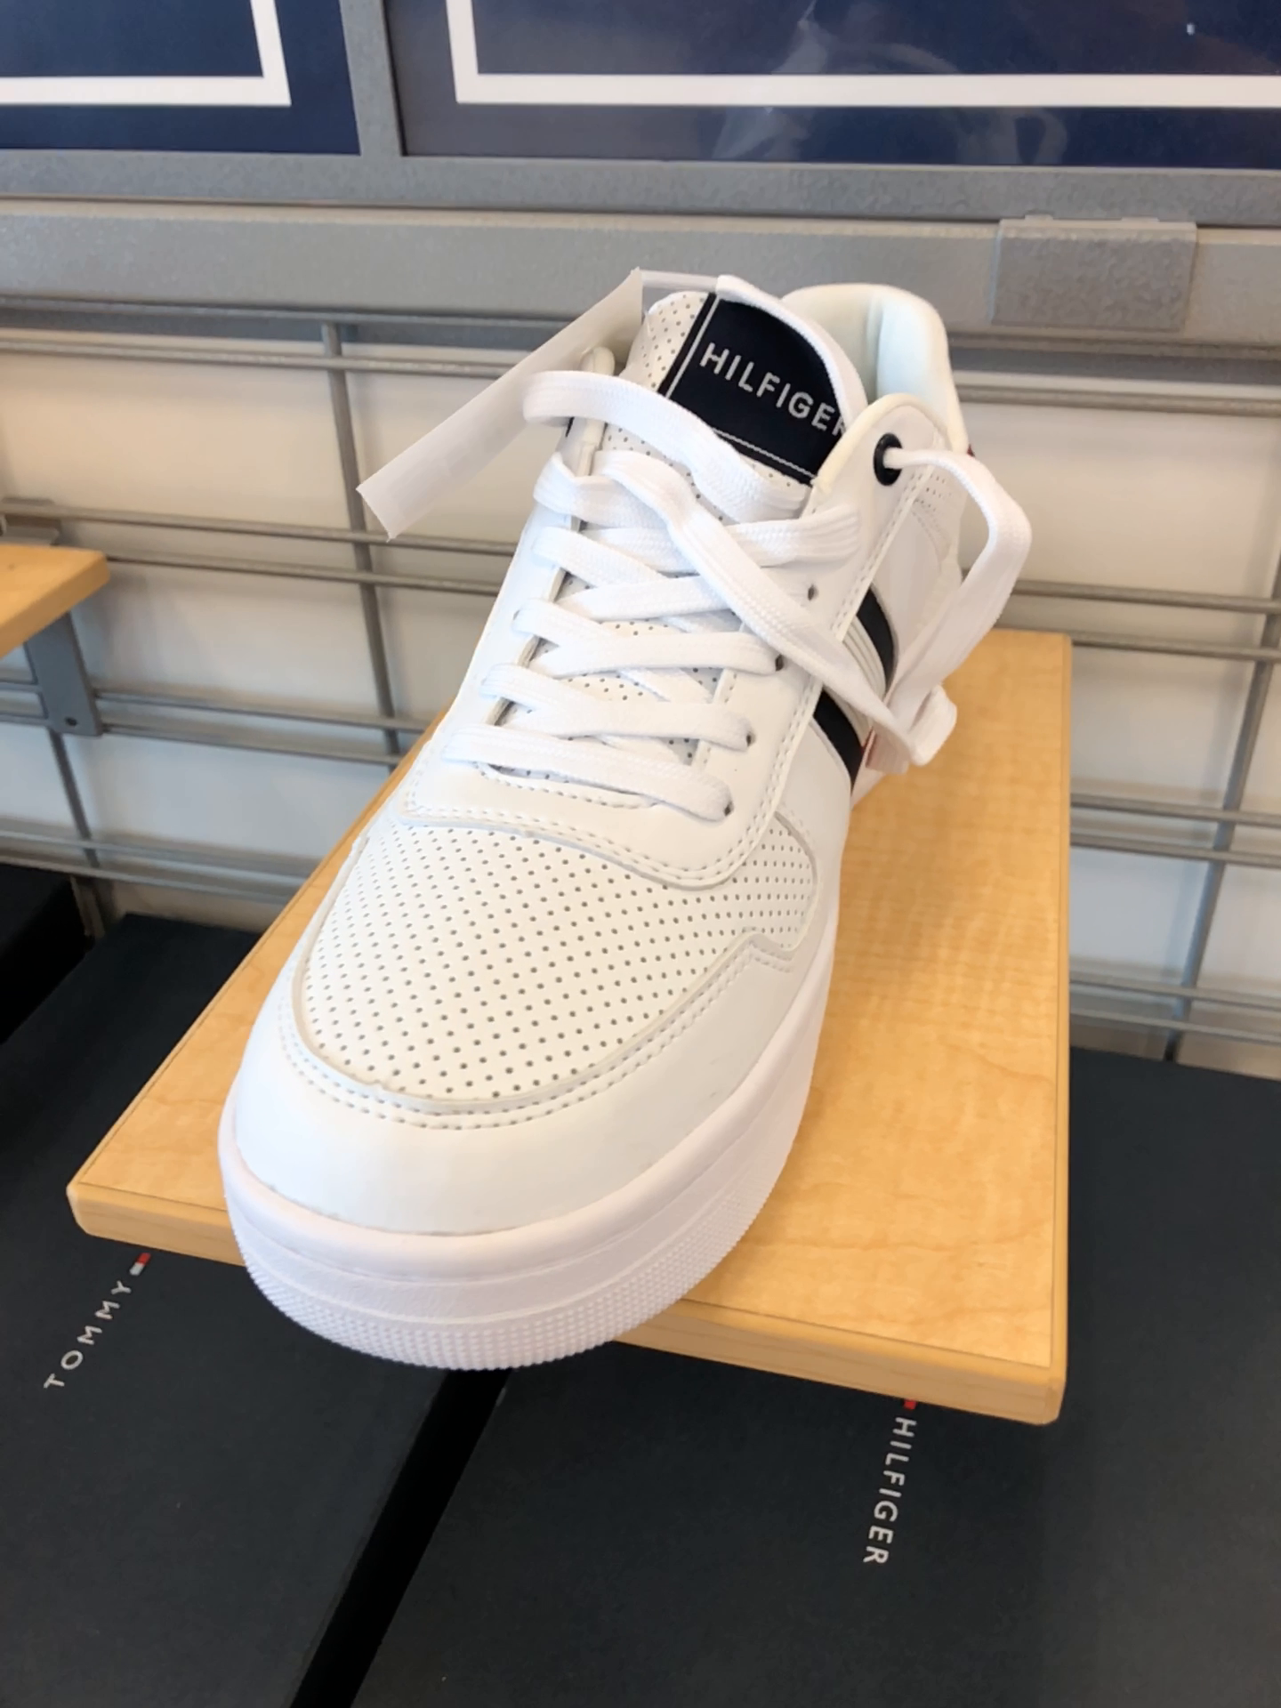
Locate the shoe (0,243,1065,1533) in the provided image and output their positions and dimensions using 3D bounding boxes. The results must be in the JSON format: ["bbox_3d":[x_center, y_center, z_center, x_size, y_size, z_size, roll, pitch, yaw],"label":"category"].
[{"bbox_3d":[0.009,-0.036,0.294,0.107,0.113,0.282,10,35,18],"label":"shoe"}]
